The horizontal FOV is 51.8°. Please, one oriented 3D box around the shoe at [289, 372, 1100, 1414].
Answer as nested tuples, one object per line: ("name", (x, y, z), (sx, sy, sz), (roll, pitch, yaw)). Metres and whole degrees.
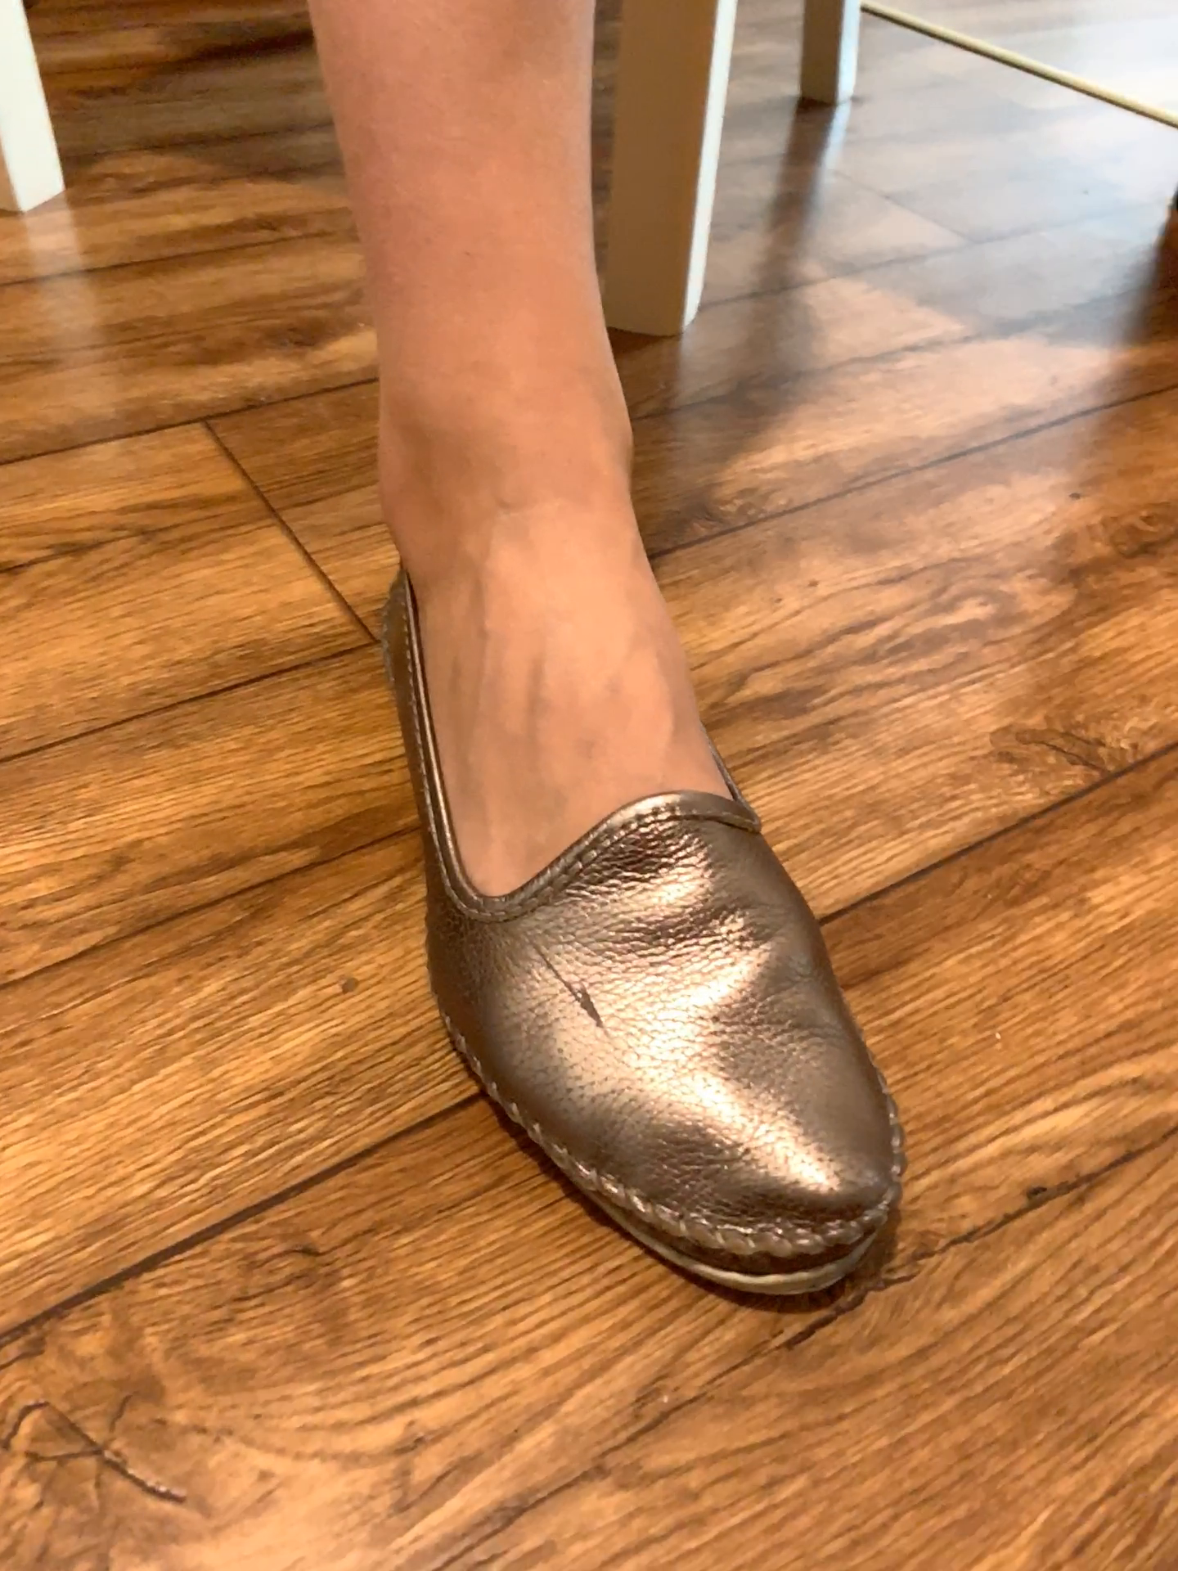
("shoe", (0.003, 0.005, 0.290), (0.095, 0.070, 0.231), (-13, 56, -16))
